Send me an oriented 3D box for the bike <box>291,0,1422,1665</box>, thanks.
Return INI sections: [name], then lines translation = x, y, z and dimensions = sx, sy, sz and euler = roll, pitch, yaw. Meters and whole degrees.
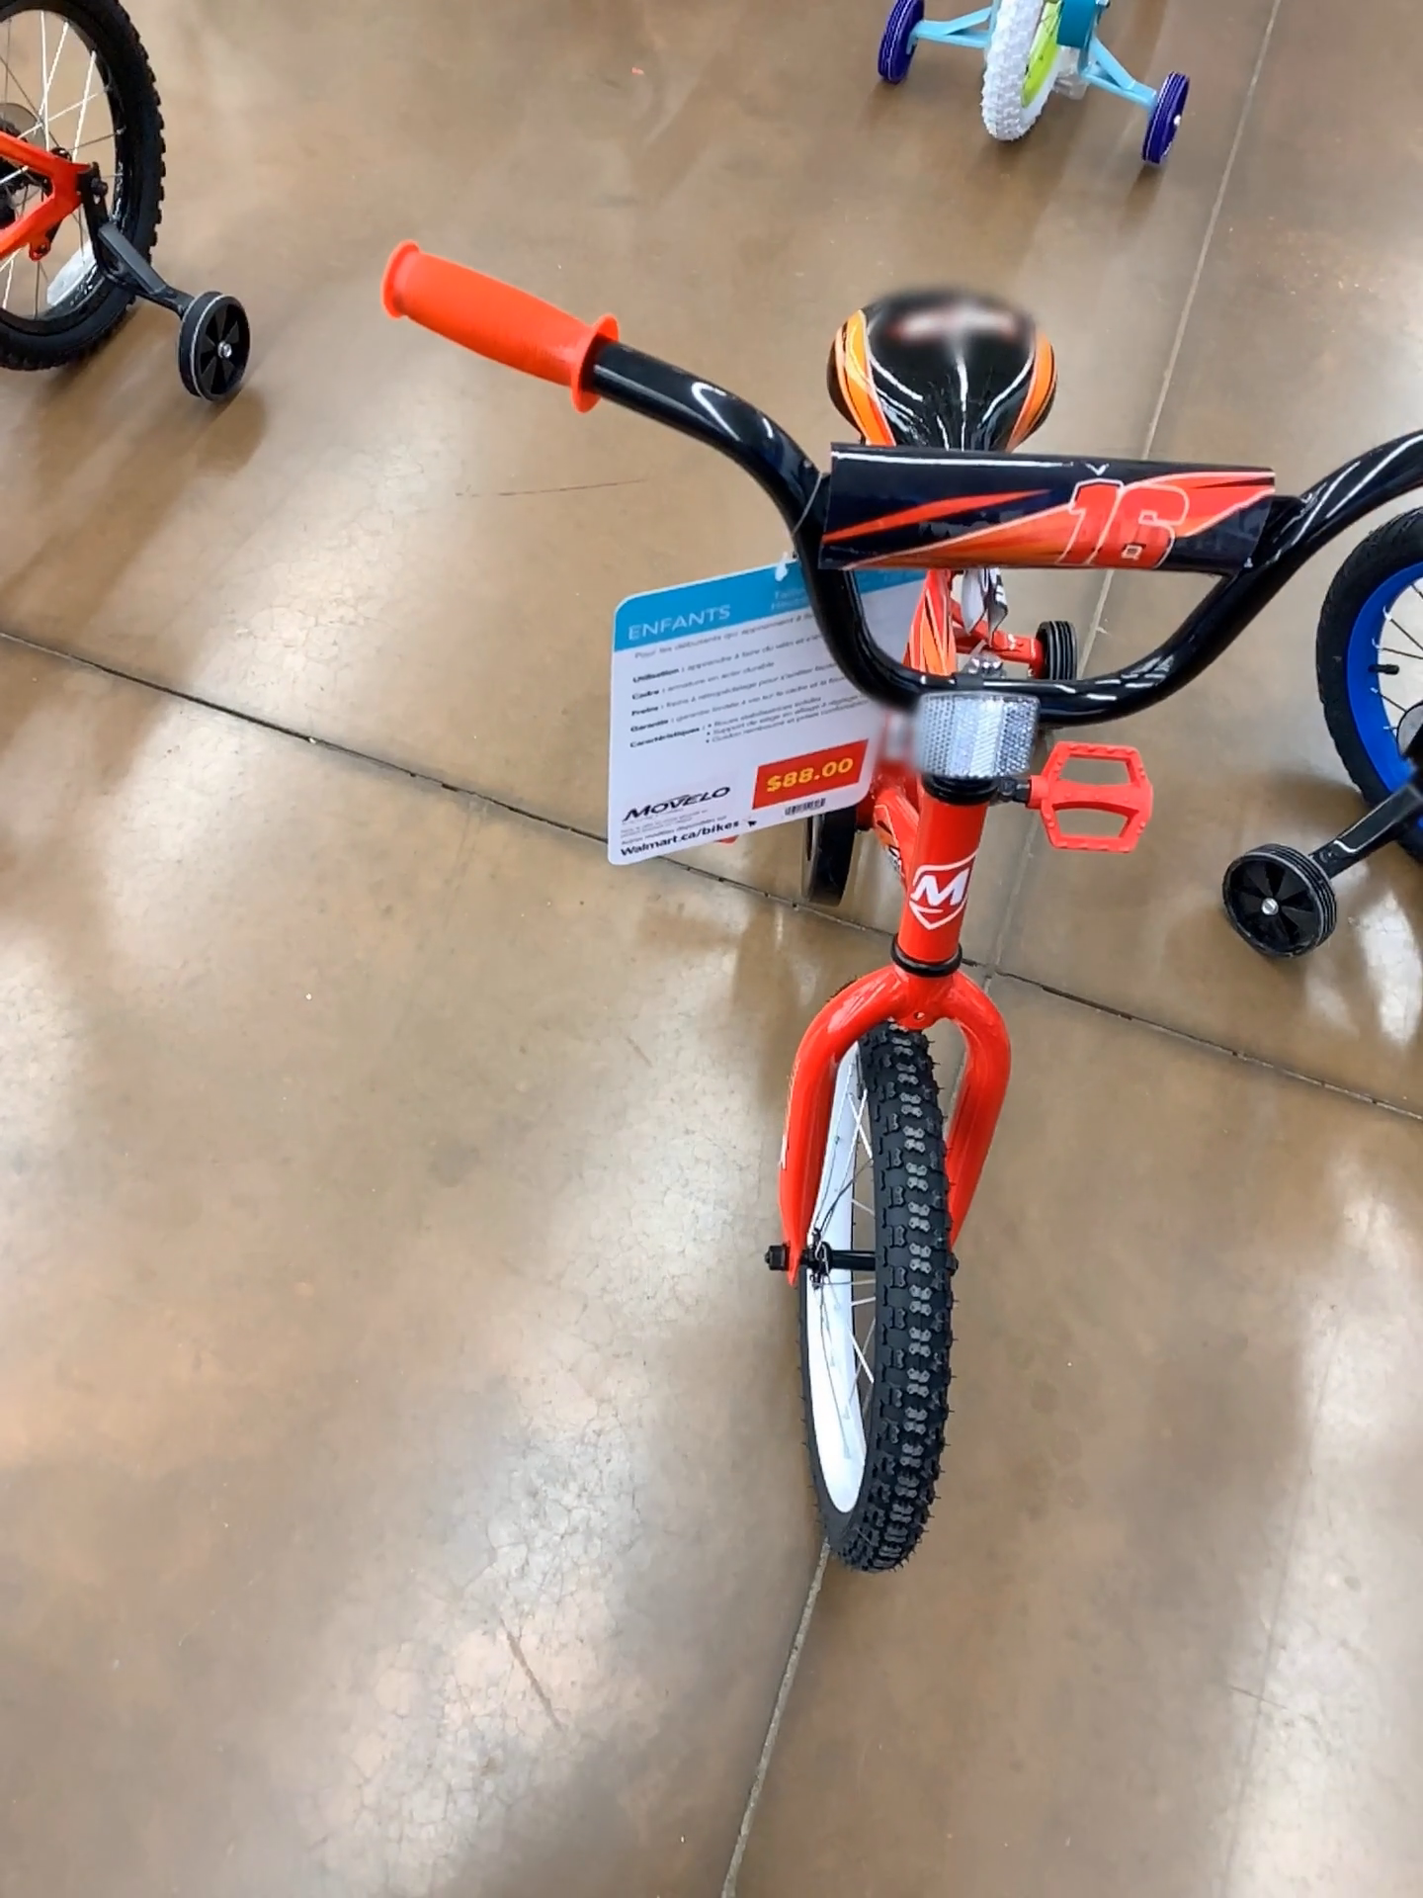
[bike]
translation = 0.154, -0.181, 1.041
dimensions = 0.515, 0.955, 1.145
euler = 4, 55, -2
